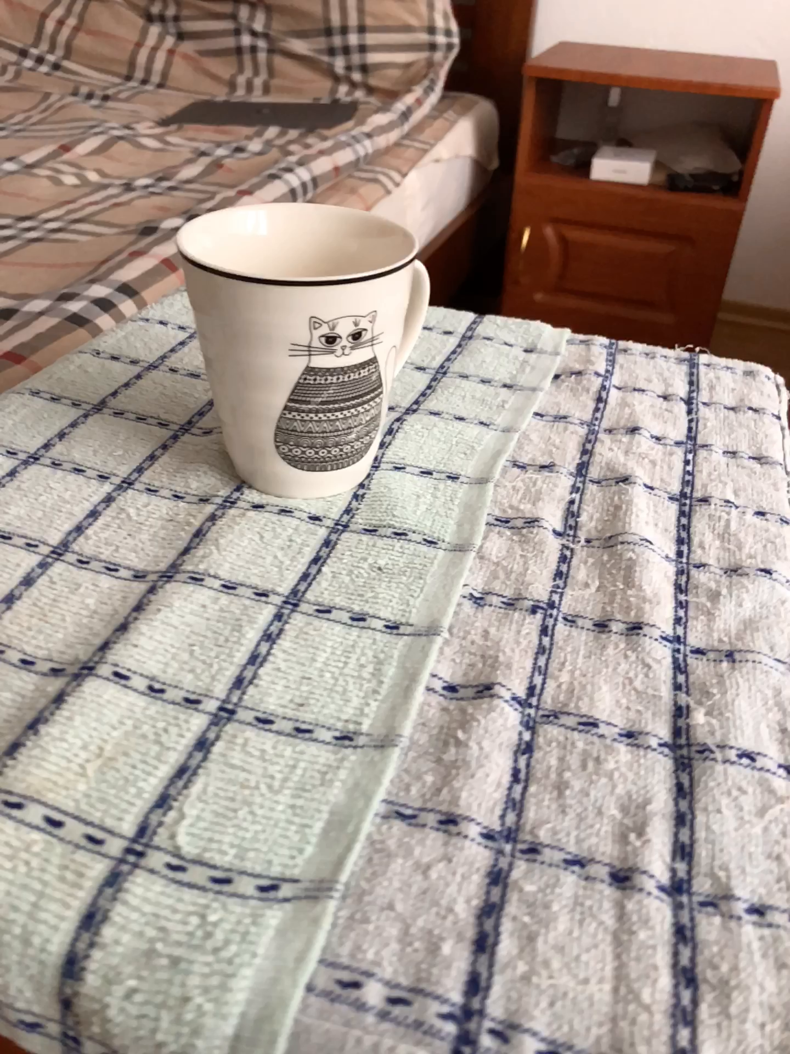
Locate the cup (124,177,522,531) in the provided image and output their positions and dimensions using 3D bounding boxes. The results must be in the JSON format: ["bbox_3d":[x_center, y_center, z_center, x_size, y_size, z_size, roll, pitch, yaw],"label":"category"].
[{"bbox_3d":[-0.027,-0.079,0.360,0.123,0.090,0.091,-27,45,-36],"label":"cup"}]
